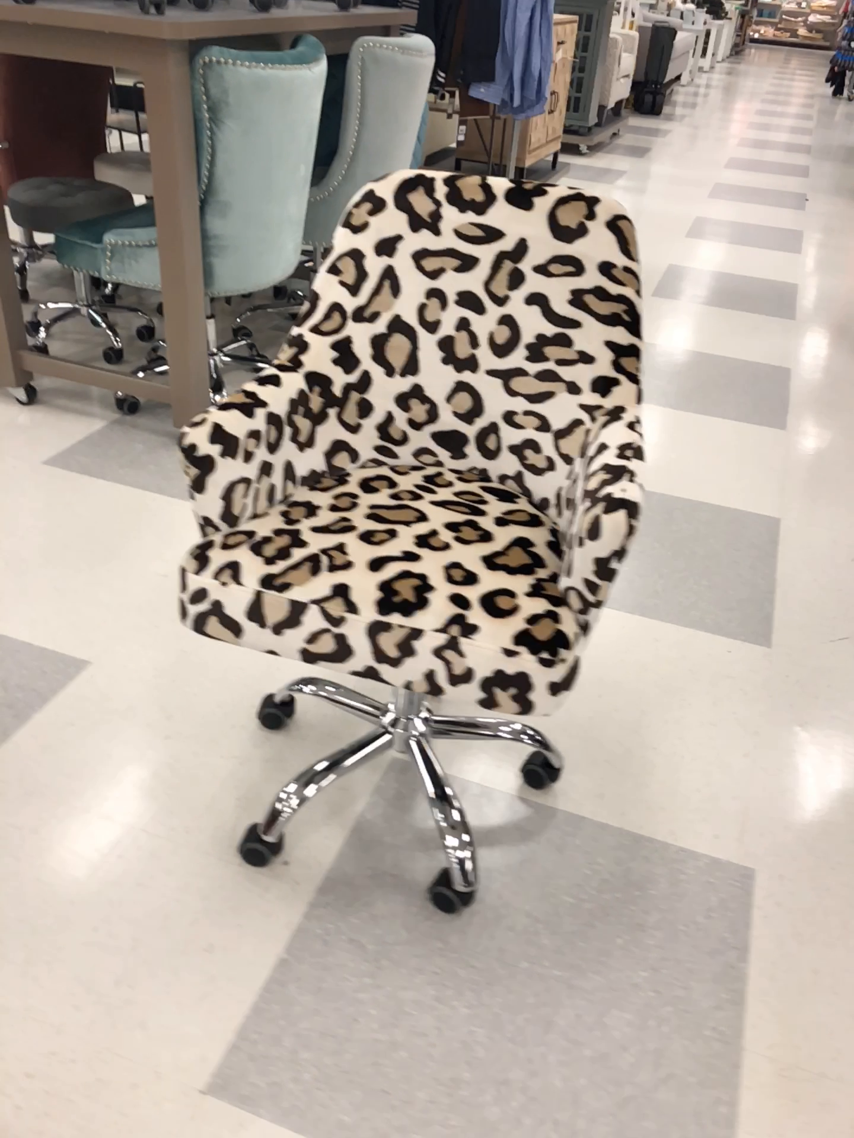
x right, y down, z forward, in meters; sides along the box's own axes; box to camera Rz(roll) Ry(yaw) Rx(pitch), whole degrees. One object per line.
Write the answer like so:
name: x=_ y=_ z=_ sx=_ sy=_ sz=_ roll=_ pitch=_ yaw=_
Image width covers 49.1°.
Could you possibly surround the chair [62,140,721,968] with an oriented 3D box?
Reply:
chair: x=-0.014 y=-0.052 z=1.319 sx=0.599 sy=0.887 sz=0.582 roll=14 pitch=33 yaw=14
